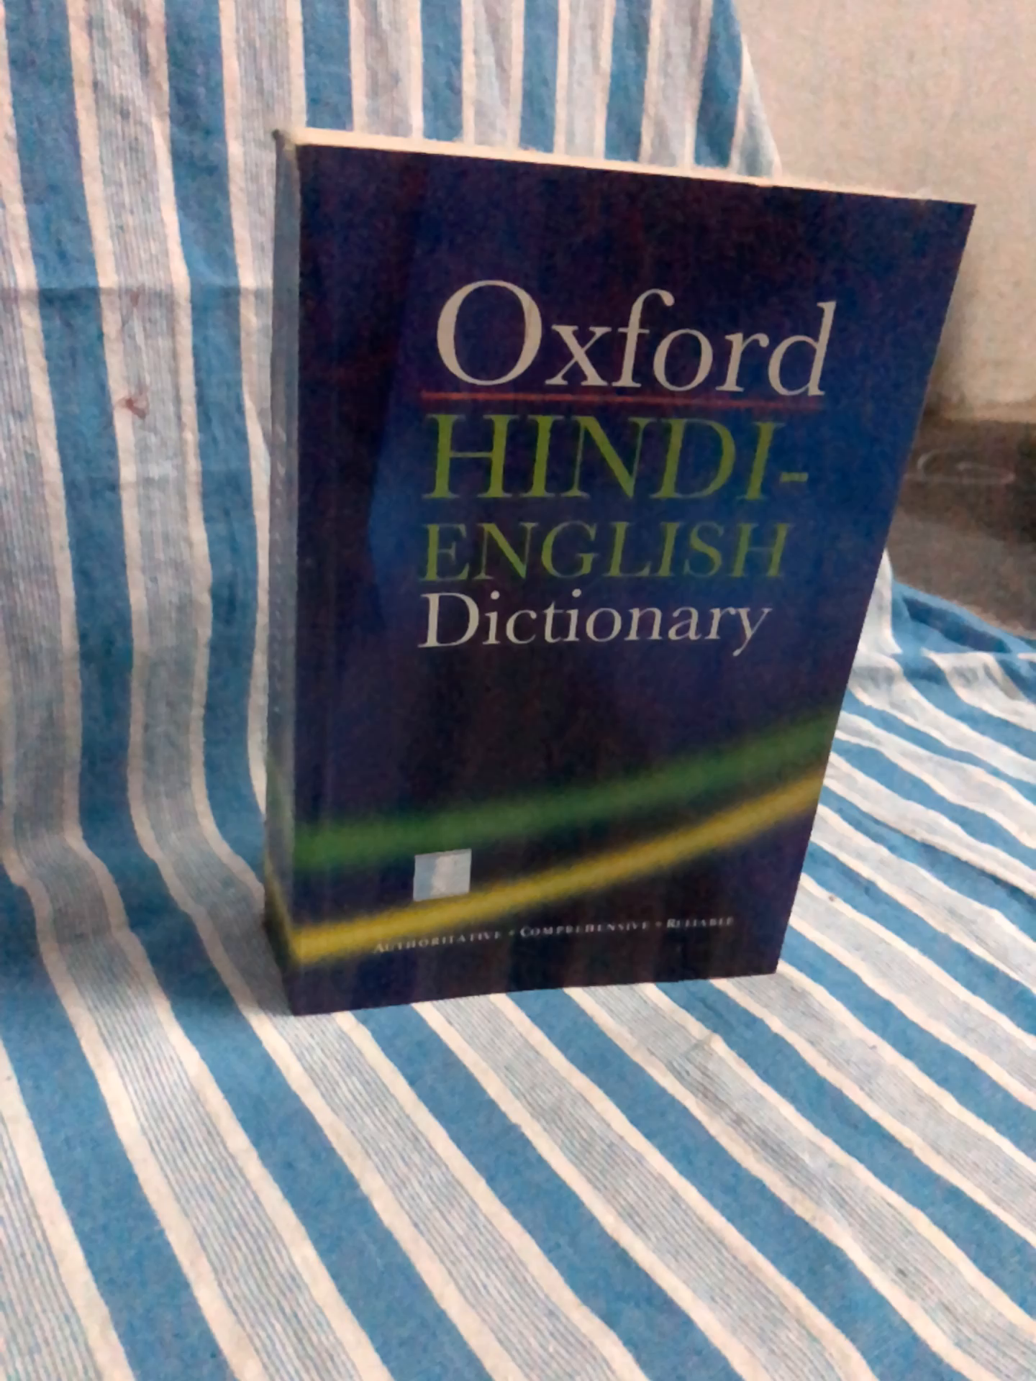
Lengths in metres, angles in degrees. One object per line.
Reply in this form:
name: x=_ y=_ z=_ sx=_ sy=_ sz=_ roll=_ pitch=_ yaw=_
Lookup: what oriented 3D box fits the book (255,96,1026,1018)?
book: x=0.013 y=-0.019 z=0.274 sx=0.140 sy=0.199 sz=0.050 roll=-1 pitch=31 yaw=-17
